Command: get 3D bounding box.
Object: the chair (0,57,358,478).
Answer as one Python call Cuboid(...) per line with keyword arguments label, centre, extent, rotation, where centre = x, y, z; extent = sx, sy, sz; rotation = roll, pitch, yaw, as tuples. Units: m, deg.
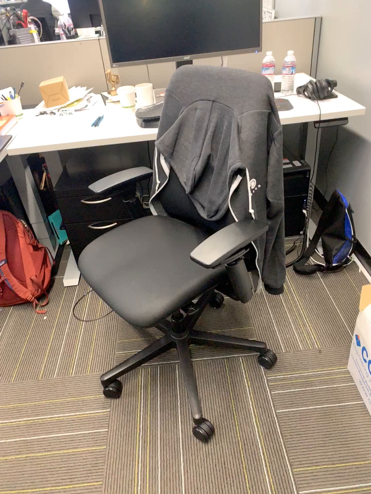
Cuboid(label="chair", centre=(-0.019, -0.007, 1.295), extent=(0.801, 0.994, 0.683), rotation=(-33, 43, -32))
